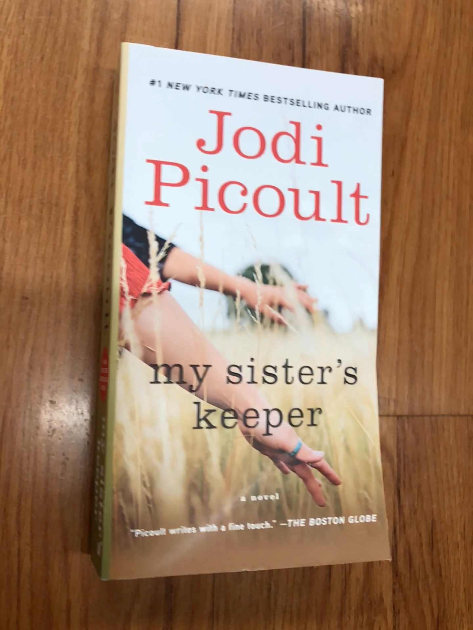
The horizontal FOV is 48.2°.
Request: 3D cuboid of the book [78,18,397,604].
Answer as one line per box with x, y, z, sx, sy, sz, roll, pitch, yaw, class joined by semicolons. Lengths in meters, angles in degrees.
0.002;-0.002;0.204;0.110;0.040;0.190;3;84;-15;book
